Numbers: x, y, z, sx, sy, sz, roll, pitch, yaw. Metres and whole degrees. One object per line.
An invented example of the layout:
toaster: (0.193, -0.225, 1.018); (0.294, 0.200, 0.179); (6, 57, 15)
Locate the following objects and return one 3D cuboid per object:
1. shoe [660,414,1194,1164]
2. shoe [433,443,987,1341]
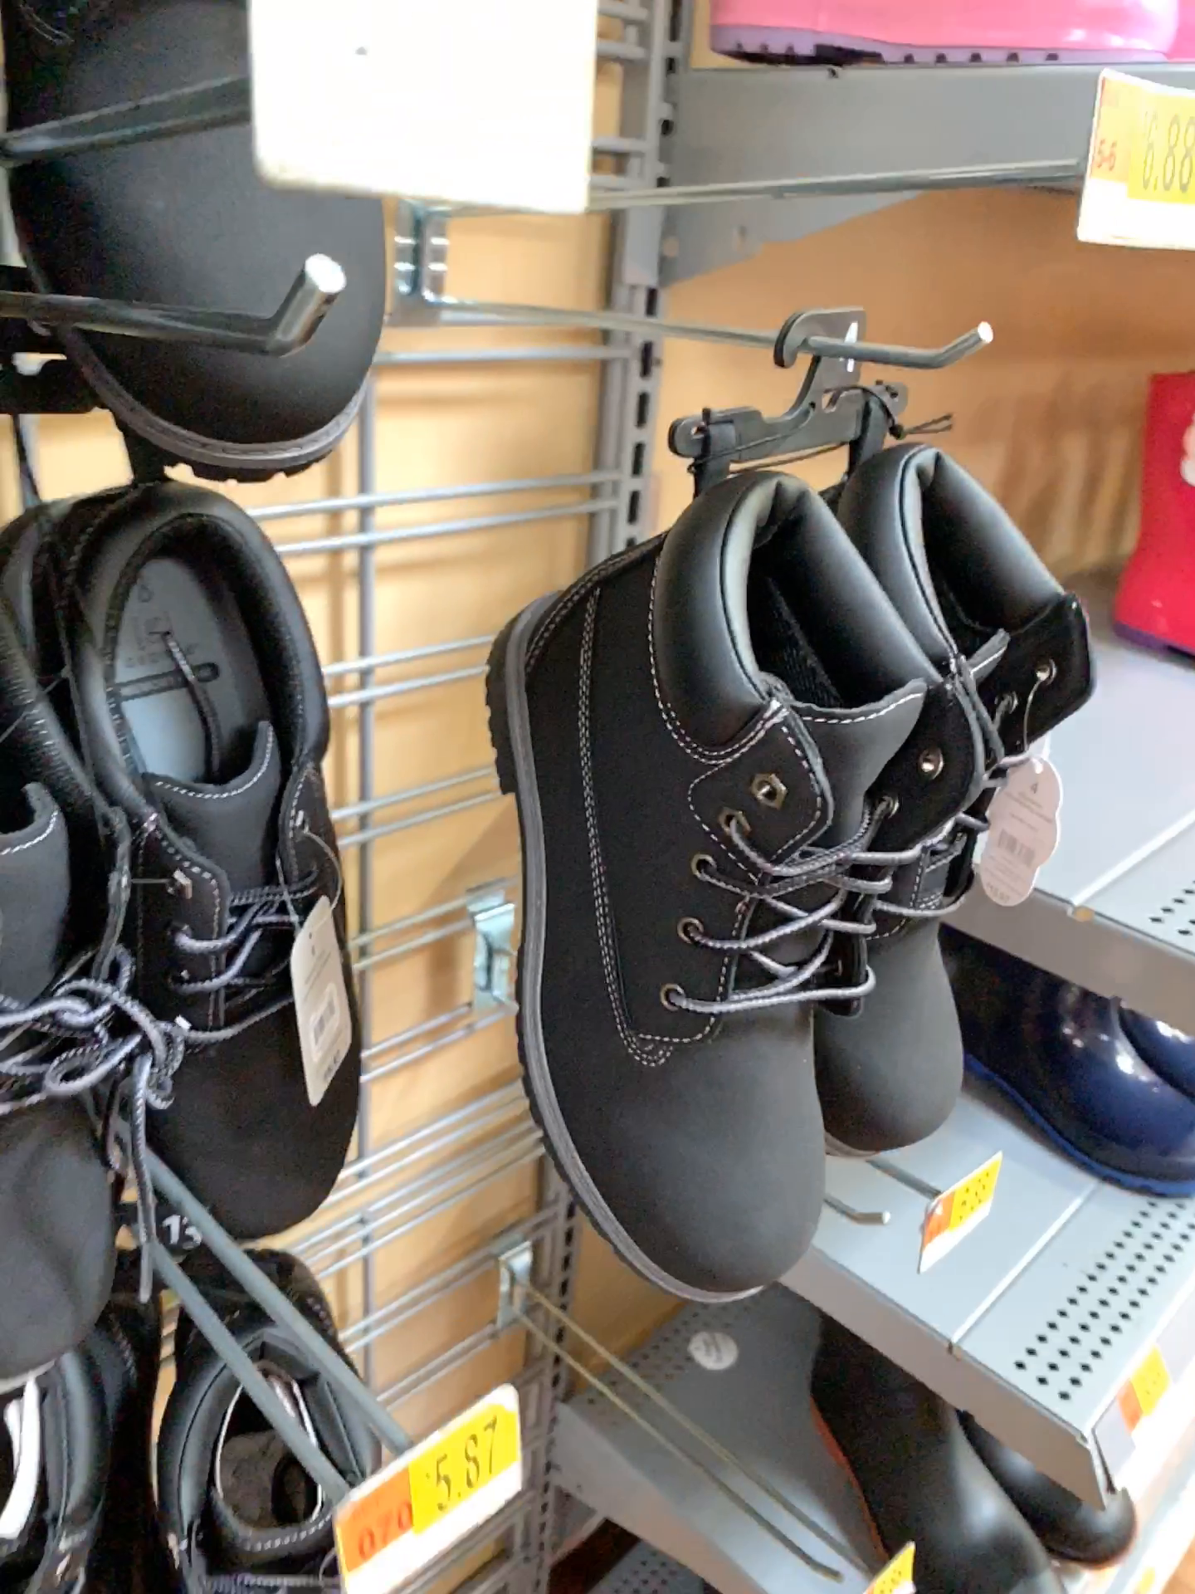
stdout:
shoe: (0.112, -0.009, 0.414); (0.100, 0.206, 0.120); (-17, 13, -38)
shoe: (0.037, 0.018, 0.381); (0.100, 0.229, 0.110); (-15, 13, -39)
